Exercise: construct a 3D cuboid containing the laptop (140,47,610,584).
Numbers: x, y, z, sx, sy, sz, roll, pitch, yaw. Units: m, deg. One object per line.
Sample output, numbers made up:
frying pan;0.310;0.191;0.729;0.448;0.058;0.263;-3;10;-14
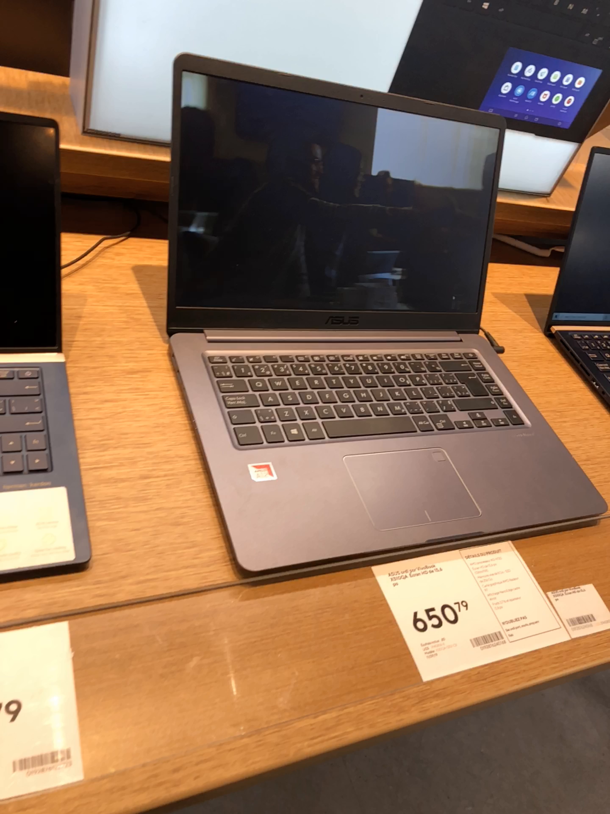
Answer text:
laptop;0.083;-0.098;0.578;0.353;0.177;0.391;-3;49;-27
